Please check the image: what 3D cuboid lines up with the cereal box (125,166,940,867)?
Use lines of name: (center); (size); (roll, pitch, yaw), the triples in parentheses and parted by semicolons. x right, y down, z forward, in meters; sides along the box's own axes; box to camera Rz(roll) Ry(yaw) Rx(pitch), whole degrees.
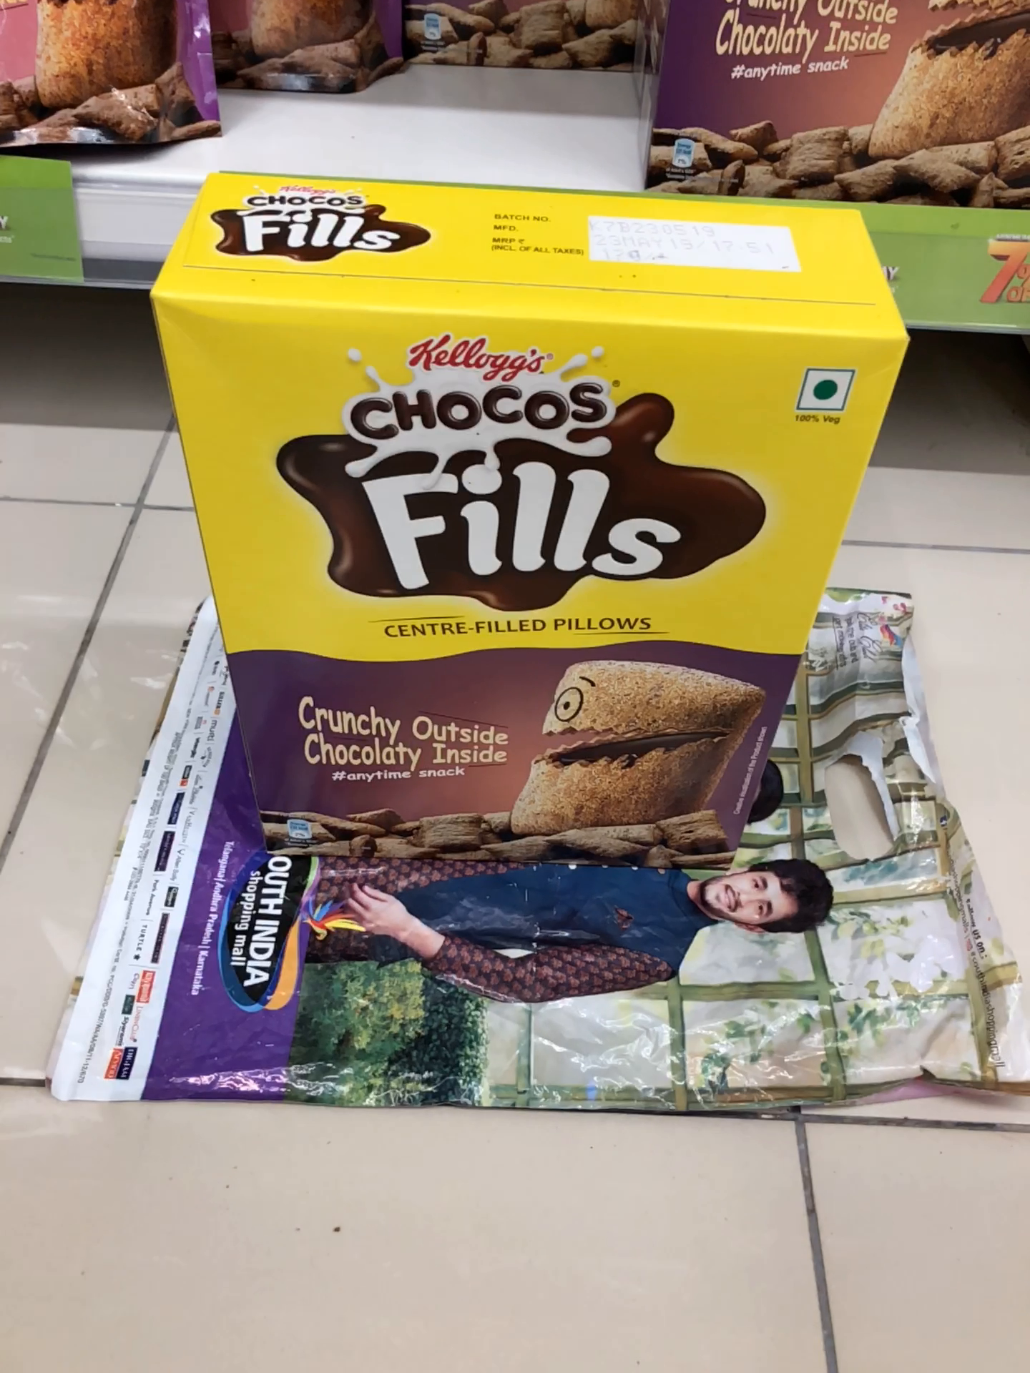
cereal box: (0.001, -0.036, 0.373); (0.190, 0.229, 0.070); (2, 48, -1)
